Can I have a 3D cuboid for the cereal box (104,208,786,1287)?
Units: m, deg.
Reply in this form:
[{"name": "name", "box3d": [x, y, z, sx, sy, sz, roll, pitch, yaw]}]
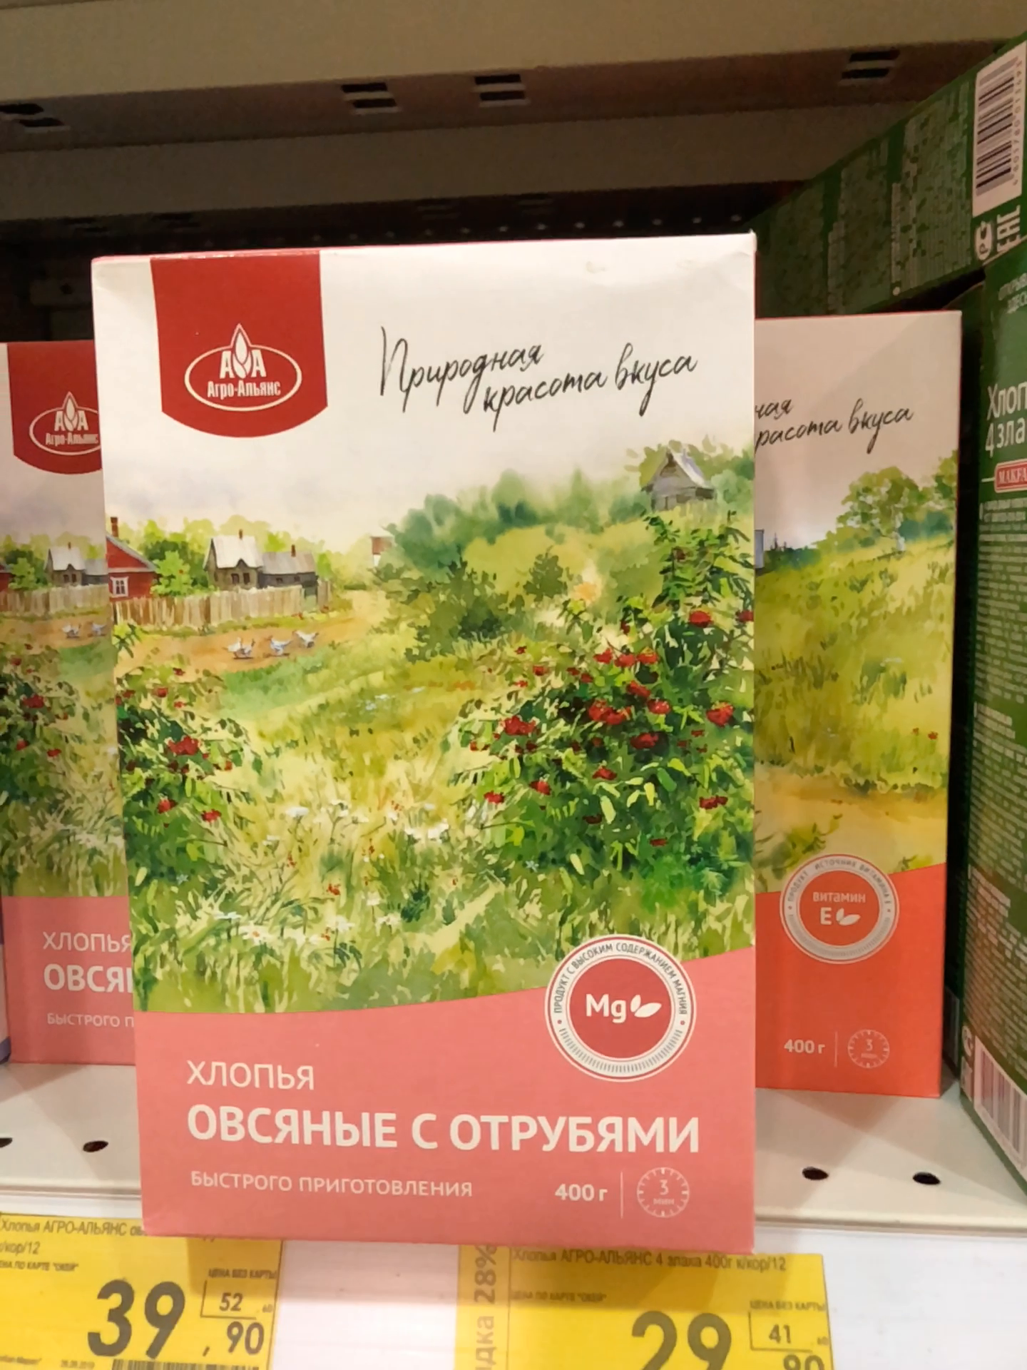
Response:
[{"name": "cereal box", "box3d": [-0.011, 0.013, 0.254, 0.130, 0.210, 0.060, 0, 5, 4]}]
